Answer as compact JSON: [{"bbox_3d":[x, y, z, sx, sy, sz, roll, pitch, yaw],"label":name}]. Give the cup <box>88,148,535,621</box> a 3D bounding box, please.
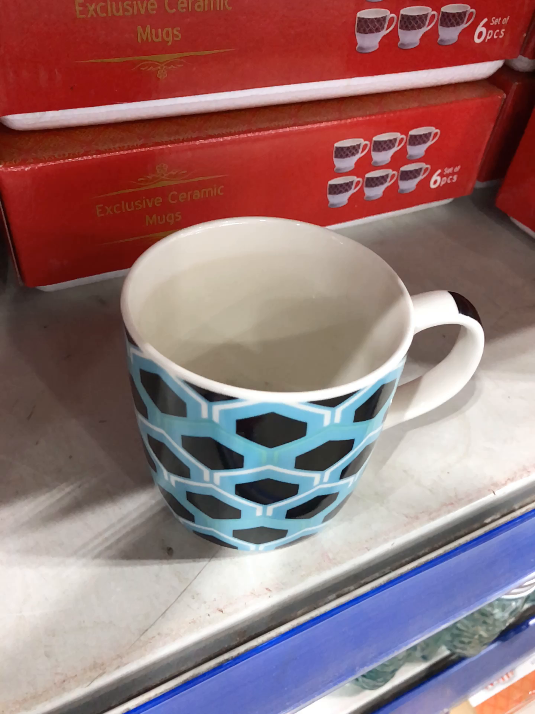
[{"bbox_3d":[0.010,0.007,0.227,0.130,0.119,0.110,-8,46,-13],"label":"cup"}]
